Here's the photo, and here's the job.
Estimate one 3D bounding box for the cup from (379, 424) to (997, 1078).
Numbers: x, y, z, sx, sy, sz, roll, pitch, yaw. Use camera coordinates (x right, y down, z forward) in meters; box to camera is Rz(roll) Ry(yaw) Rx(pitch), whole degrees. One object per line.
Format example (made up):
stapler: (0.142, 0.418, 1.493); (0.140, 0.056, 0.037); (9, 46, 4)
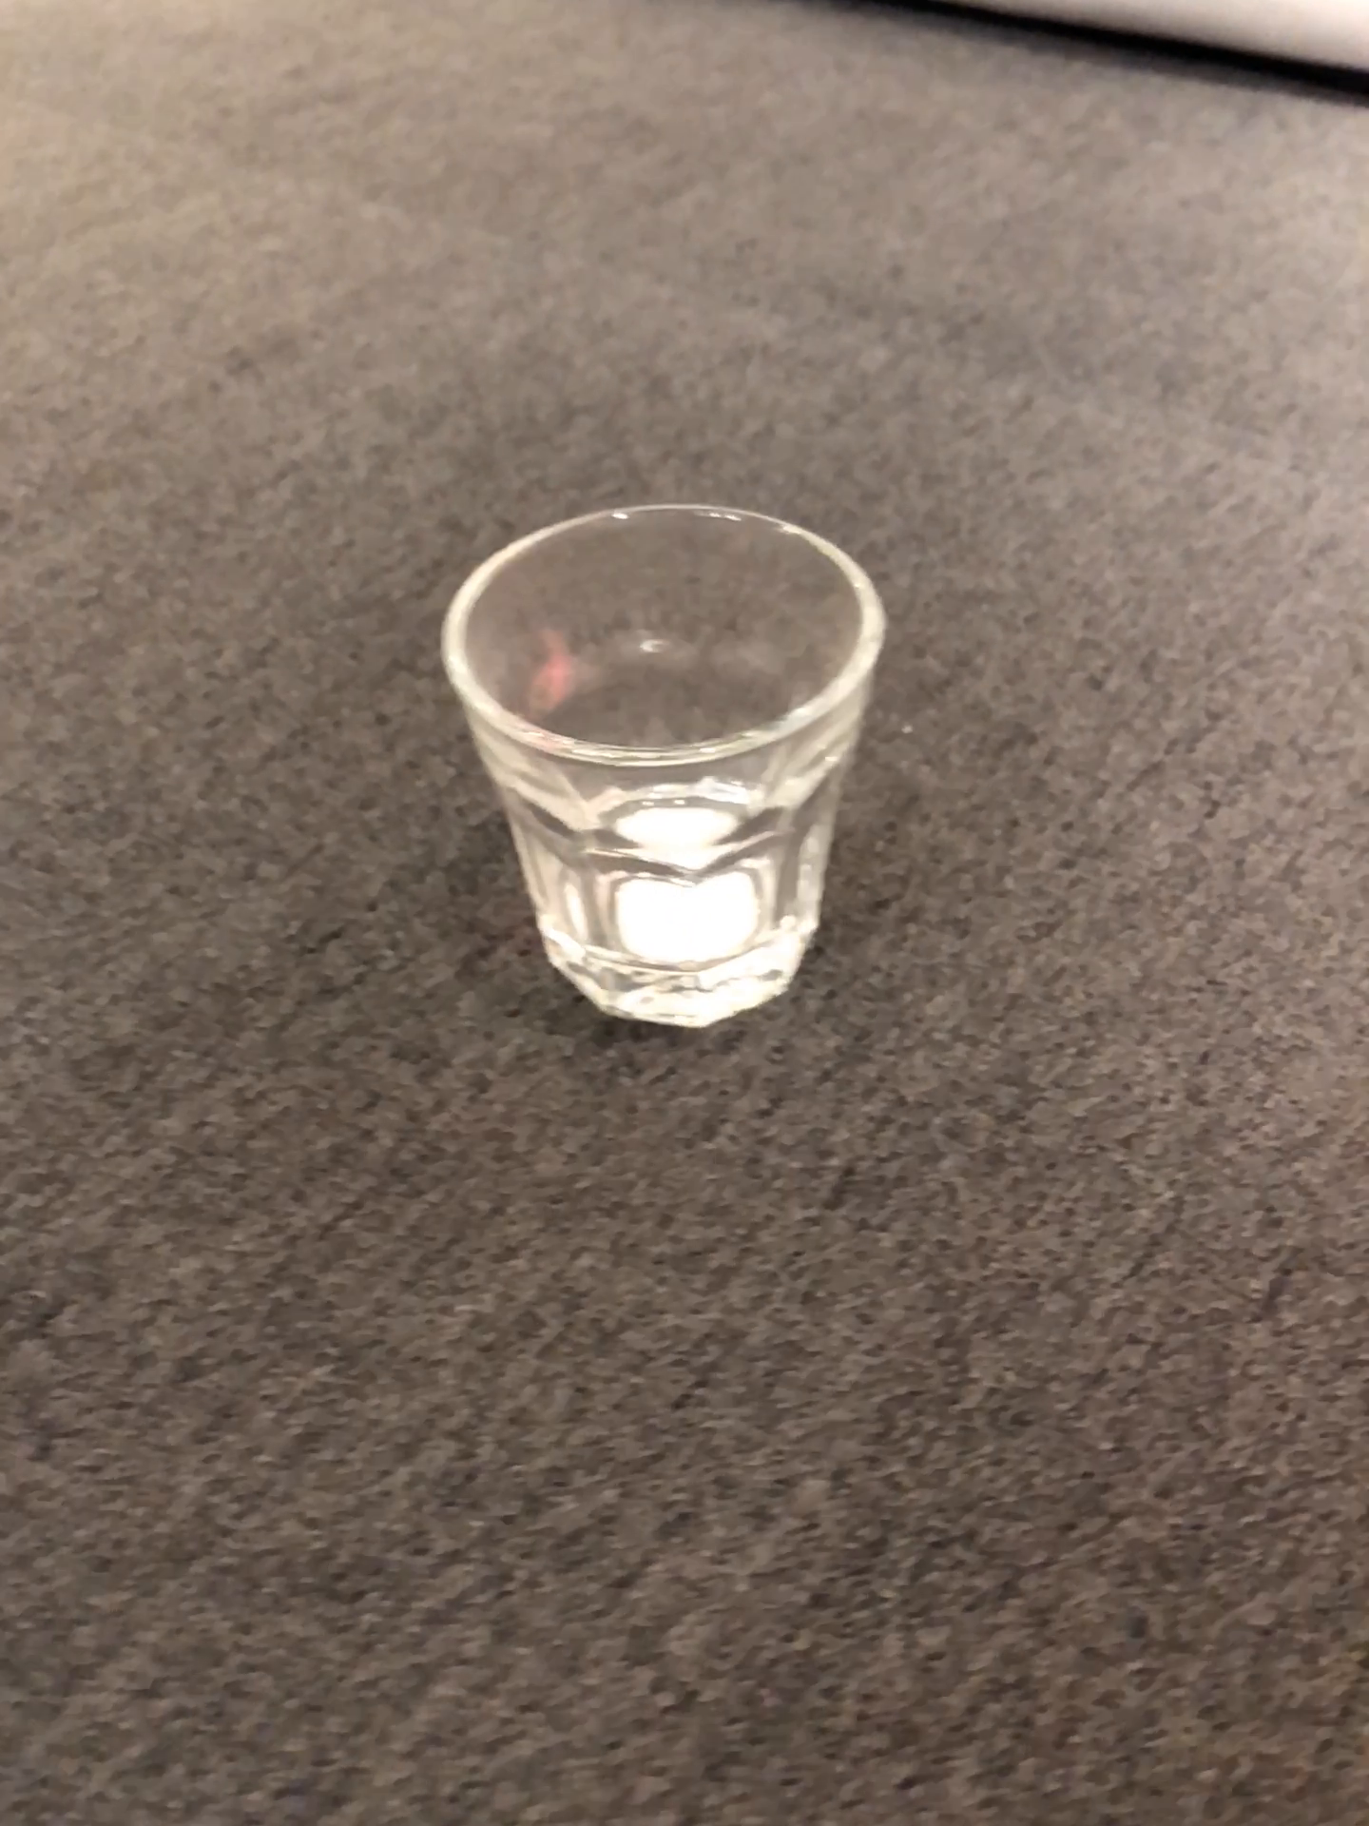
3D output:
cup: (0.004, -0.023, 0.198); (0.060, 0.050, 0.060); (0, 43, 0)
